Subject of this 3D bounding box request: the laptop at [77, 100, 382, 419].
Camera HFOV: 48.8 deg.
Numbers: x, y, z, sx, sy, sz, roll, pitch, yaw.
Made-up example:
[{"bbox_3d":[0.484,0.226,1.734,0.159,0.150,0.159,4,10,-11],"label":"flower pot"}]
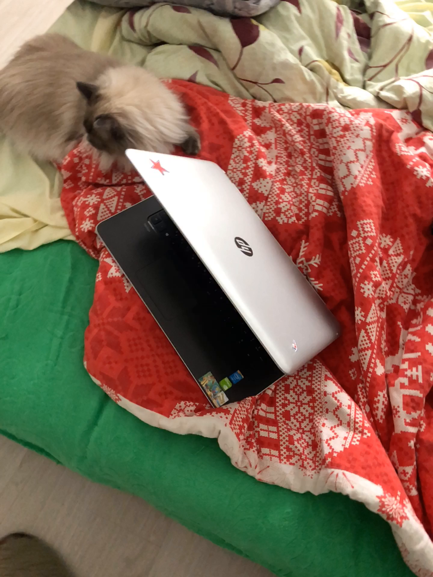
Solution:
[{"bbox_3d":[0.012,-0.051,0.800,0.276,0.176,0.414,-31,75,-17],"label":"laptop"}]
